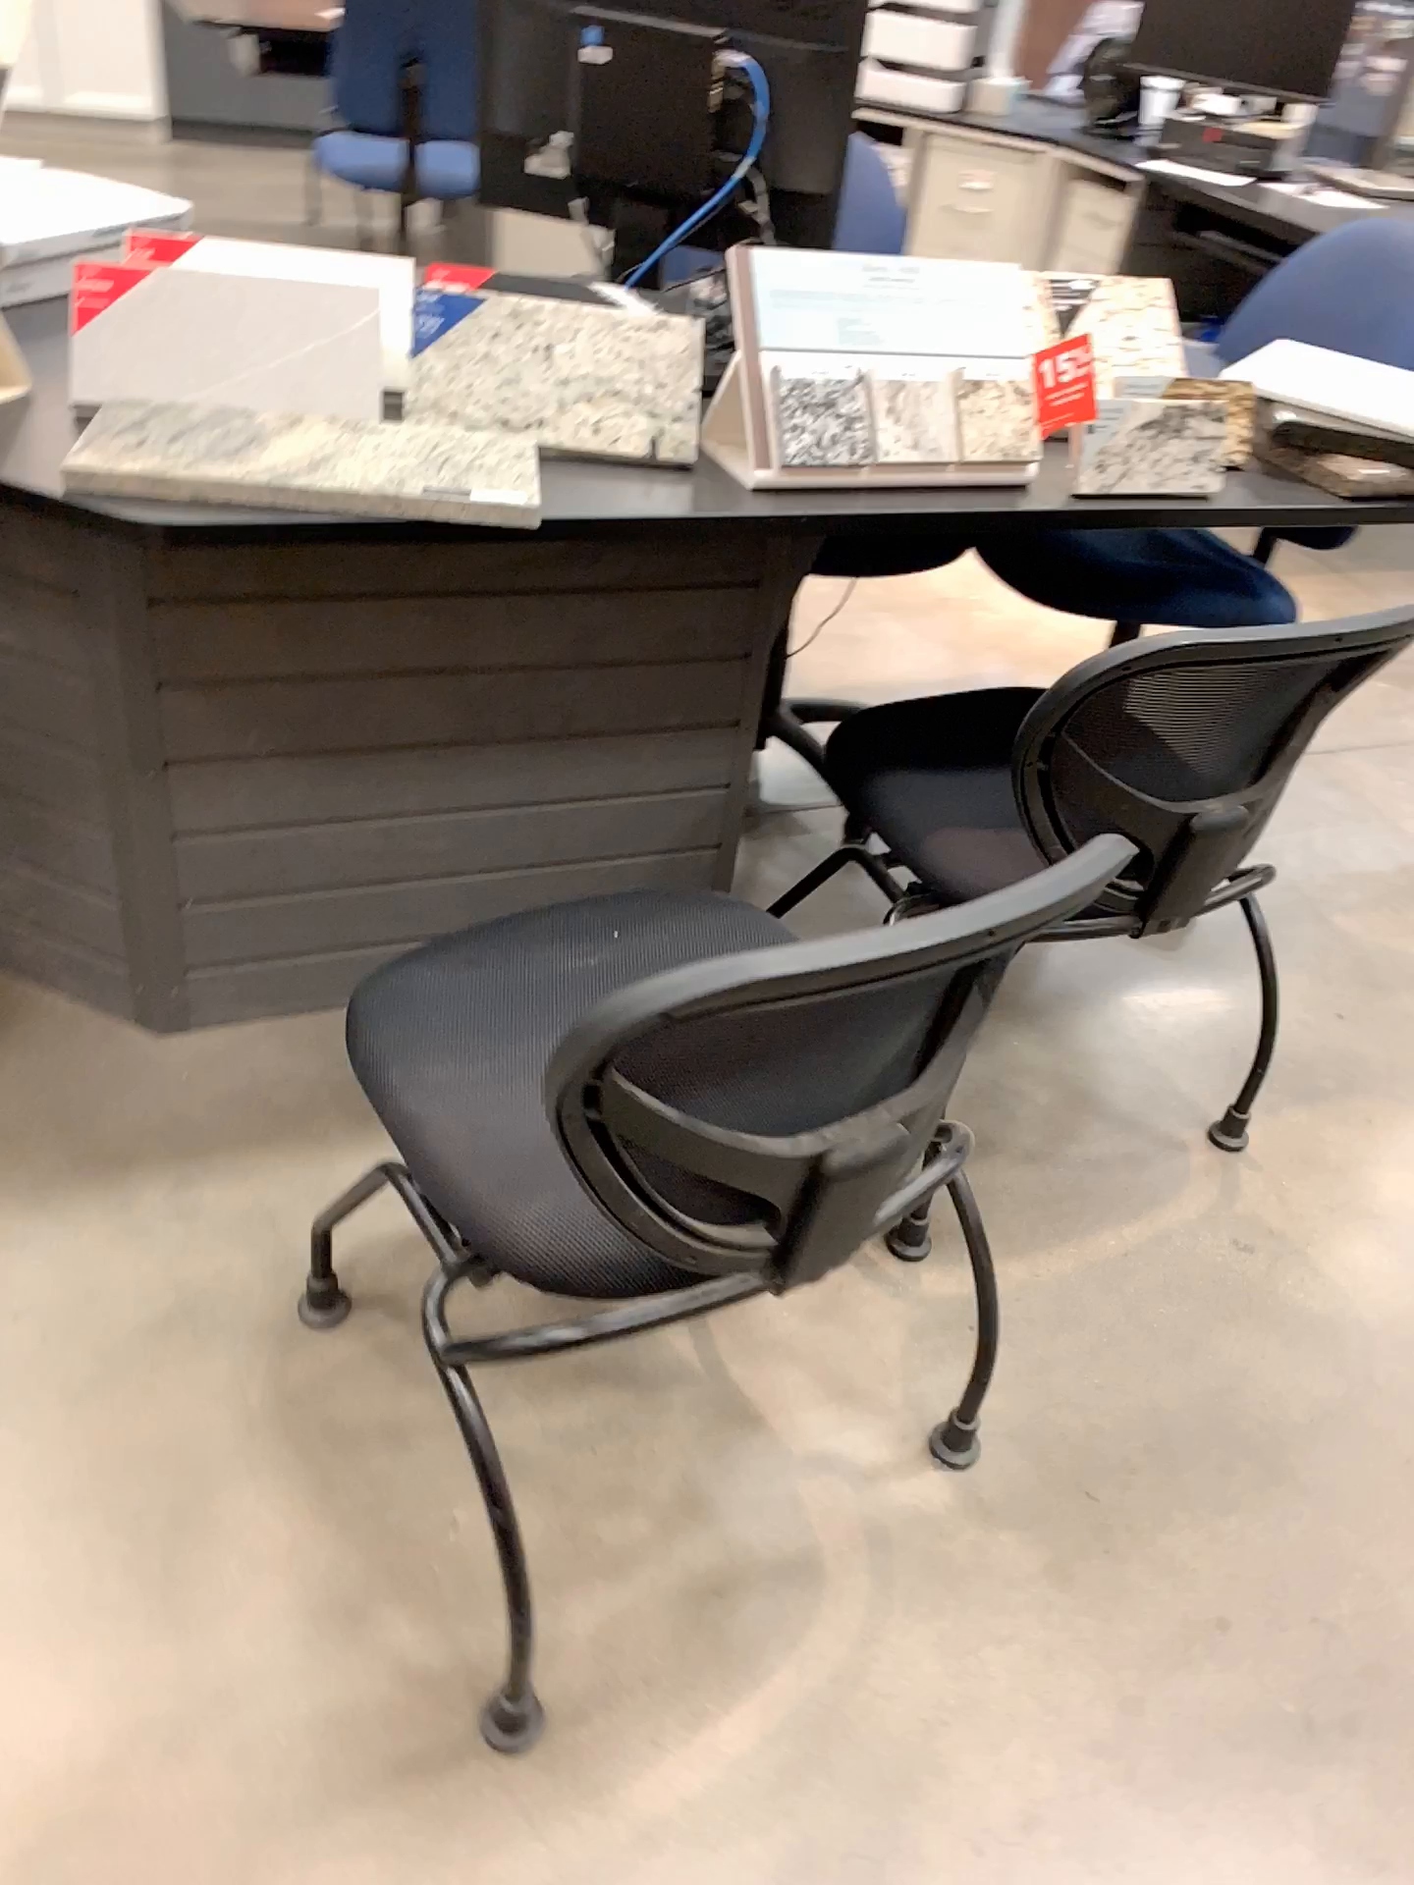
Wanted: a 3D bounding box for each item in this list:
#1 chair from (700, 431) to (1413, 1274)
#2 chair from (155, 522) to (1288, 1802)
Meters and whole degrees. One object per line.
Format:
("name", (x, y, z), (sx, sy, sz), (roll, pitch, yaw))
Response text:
("chair", (0.424, -0.139, 1.771), (0.595, 0.777, 0.586), (-9, 39, -23))
("chair", (-0.045, 0.144, 1.283), (0.605, 0.777, 0.596), (-18, 44, -32))
